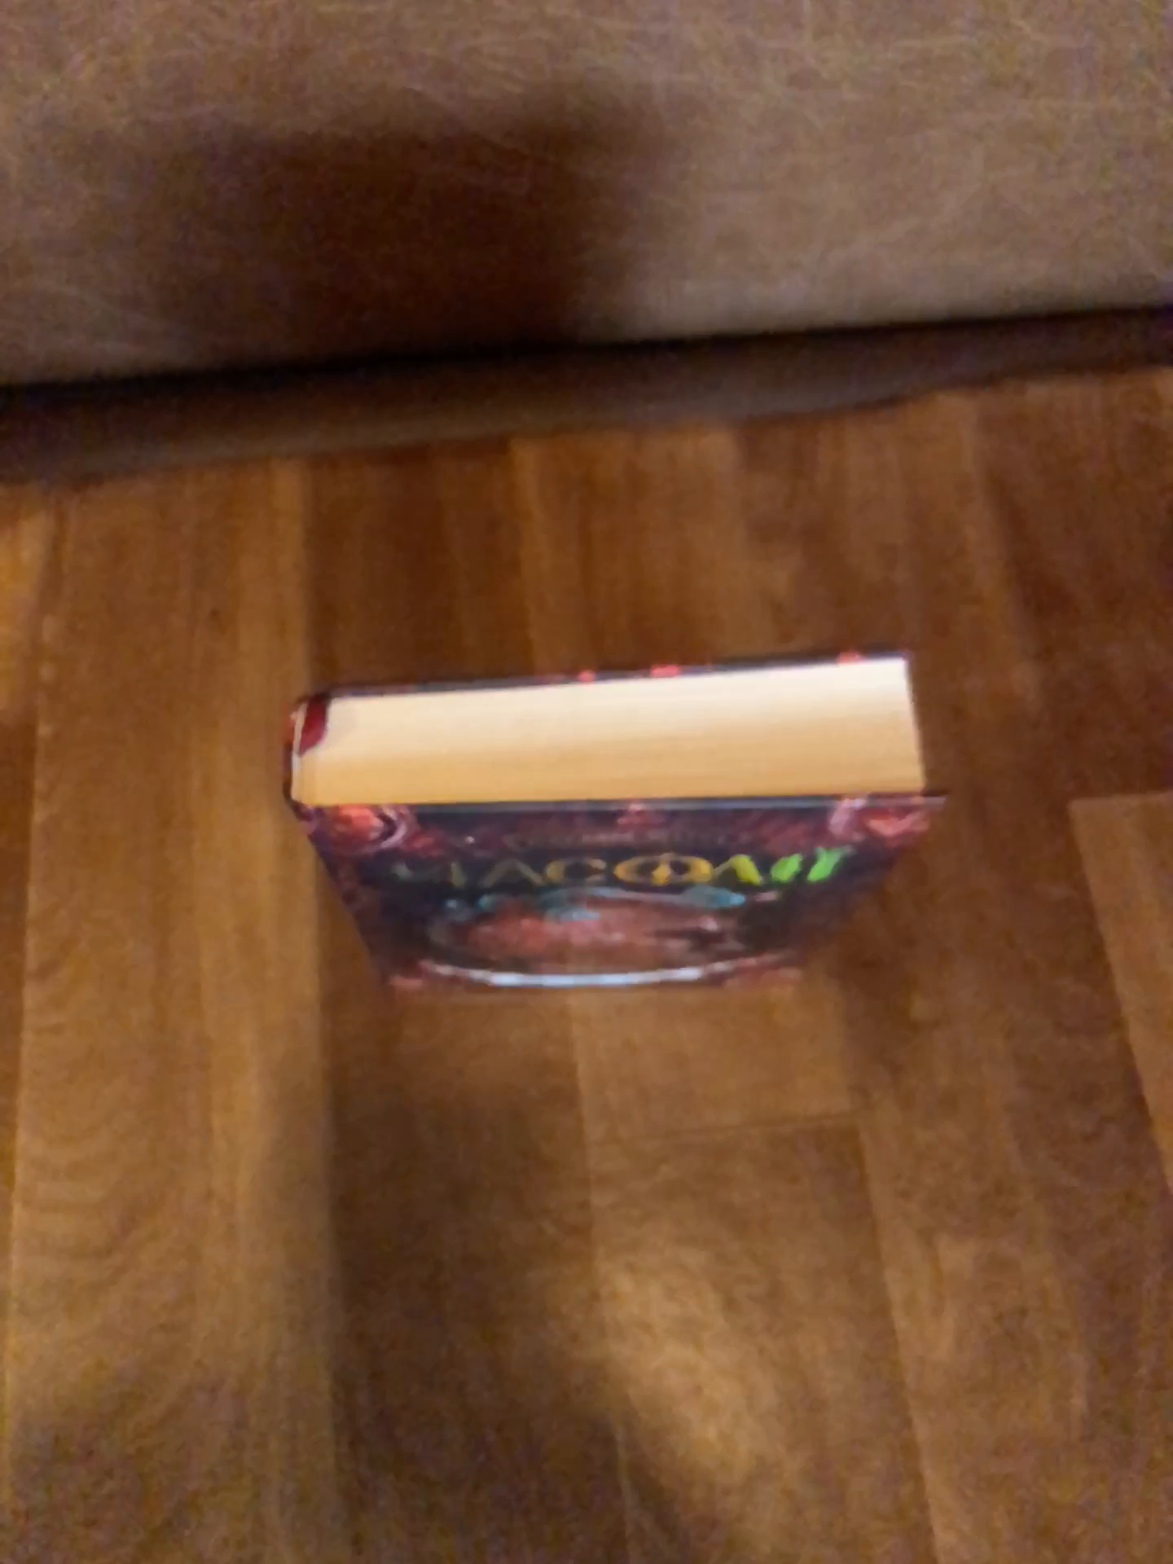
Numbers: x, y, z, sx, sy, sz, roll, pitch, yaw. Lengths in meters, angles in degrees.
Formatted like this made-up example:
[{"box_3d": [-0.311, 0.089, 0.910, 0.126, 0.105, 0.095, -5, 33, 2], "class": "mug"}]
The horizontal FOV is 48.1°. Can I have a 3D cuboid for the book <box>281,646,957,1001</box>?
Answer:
[{"box_3d": [0.004, 0.026, 0.439, 0.170, 0.220, 0.040, -2, 69, -3], "class": "book"}]
